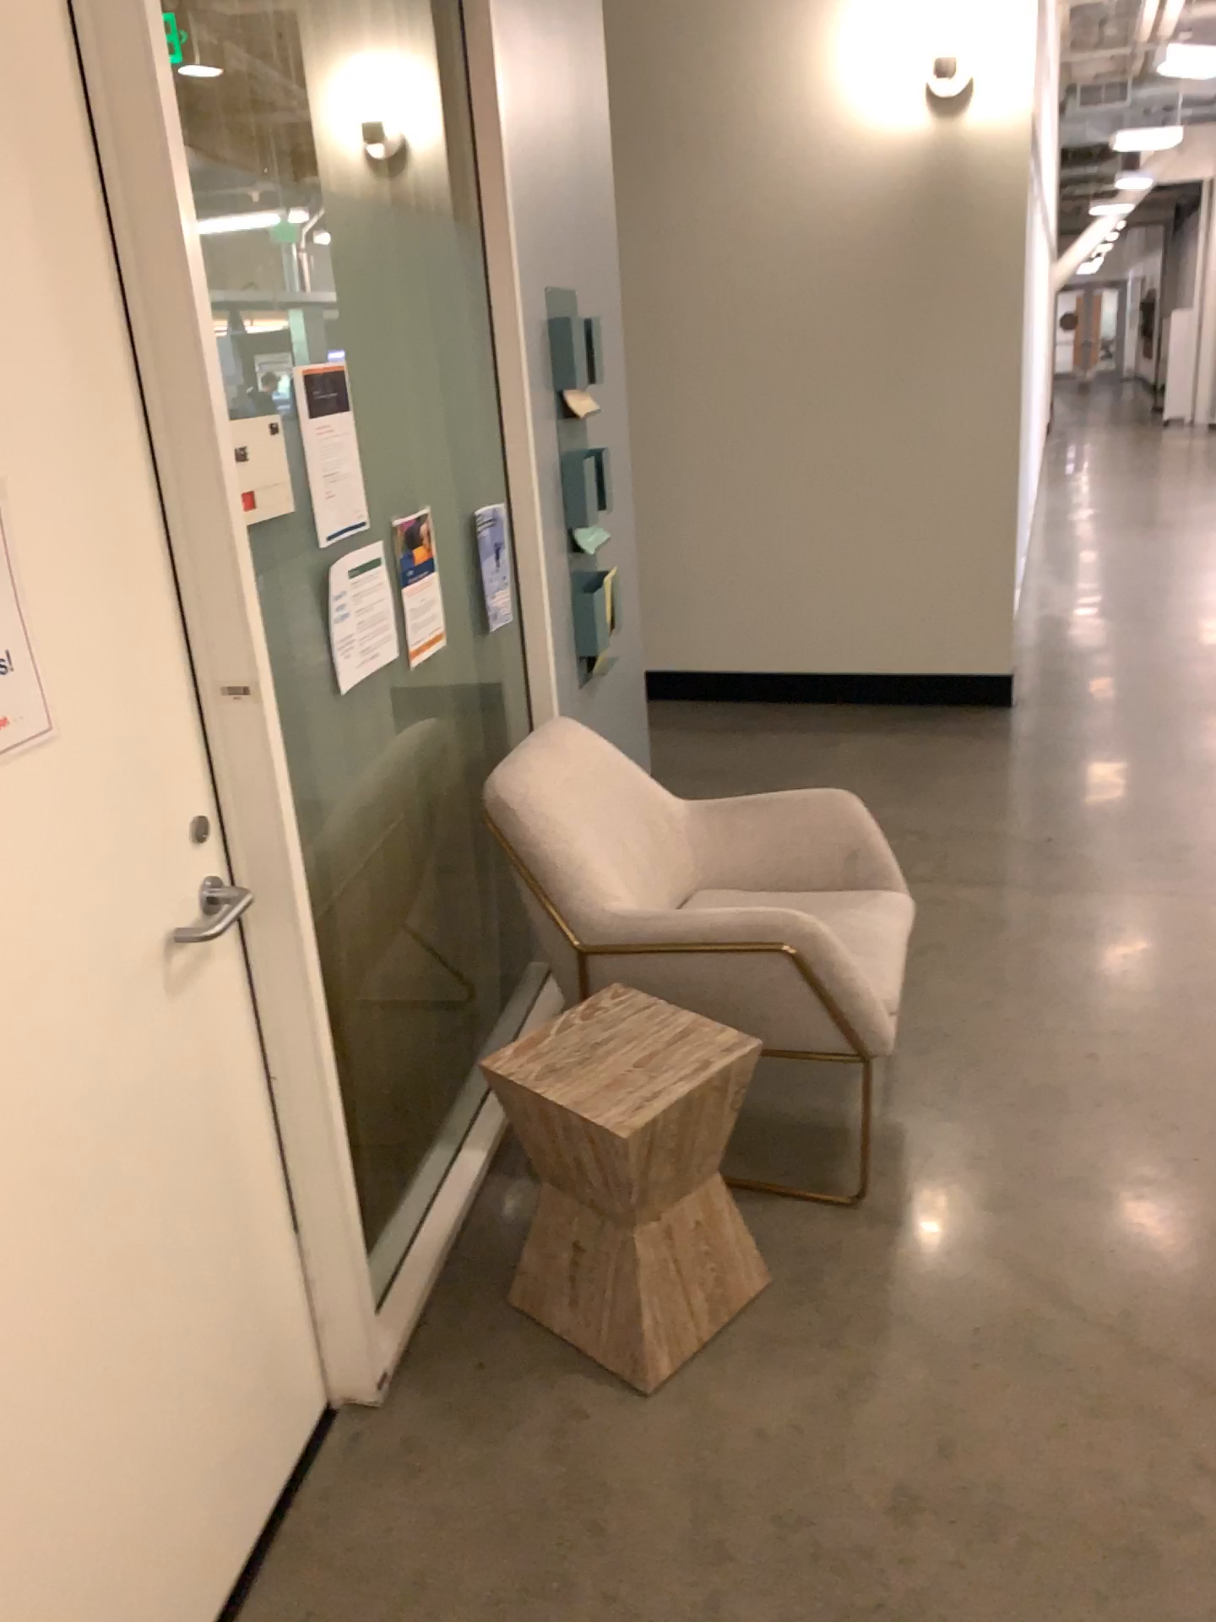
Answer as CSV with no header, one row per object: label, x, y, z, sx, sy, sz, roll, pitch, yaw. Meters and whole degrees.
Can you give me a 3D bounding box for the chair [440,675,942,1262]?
chair,0.243,0.266,2.640,0.871,0.925,0.783,1,20,14
